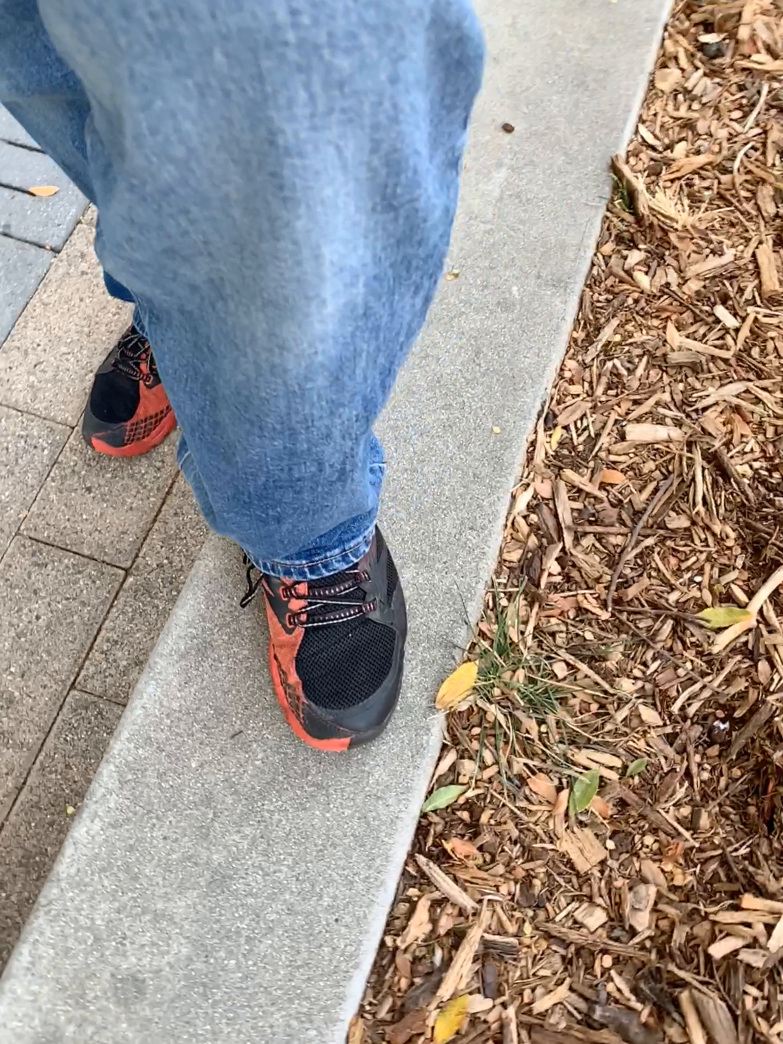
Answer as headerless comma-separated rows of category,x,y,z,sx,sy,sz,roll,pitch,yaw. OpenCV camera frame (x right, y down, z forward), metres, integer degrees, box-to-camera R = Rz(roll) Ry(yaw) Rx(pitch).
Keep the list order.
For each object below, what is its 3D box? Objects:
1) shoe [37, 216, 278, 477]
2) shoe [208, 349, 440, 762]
shoe,-0.282,-0.225,1.006,0.136,0.080,0.306,25,69,10
shoe,-0.060,0.021,0.653,0.122,0.080,0.310,-12,68,-5
